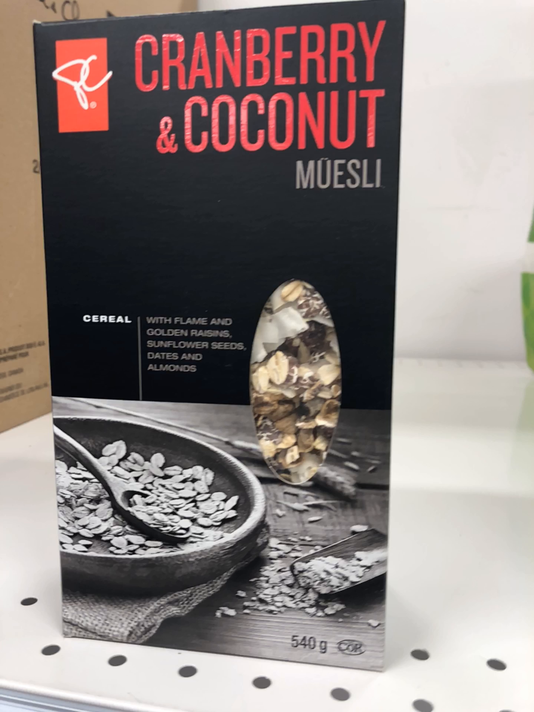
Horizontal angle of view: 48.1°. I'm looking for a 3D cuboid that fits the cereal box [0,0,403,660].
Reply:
[{"bbox_3d":[-0.016,-0.012,0.216,0.120,0.200,0.070,1,6,10],"label":"cereal box"}]
